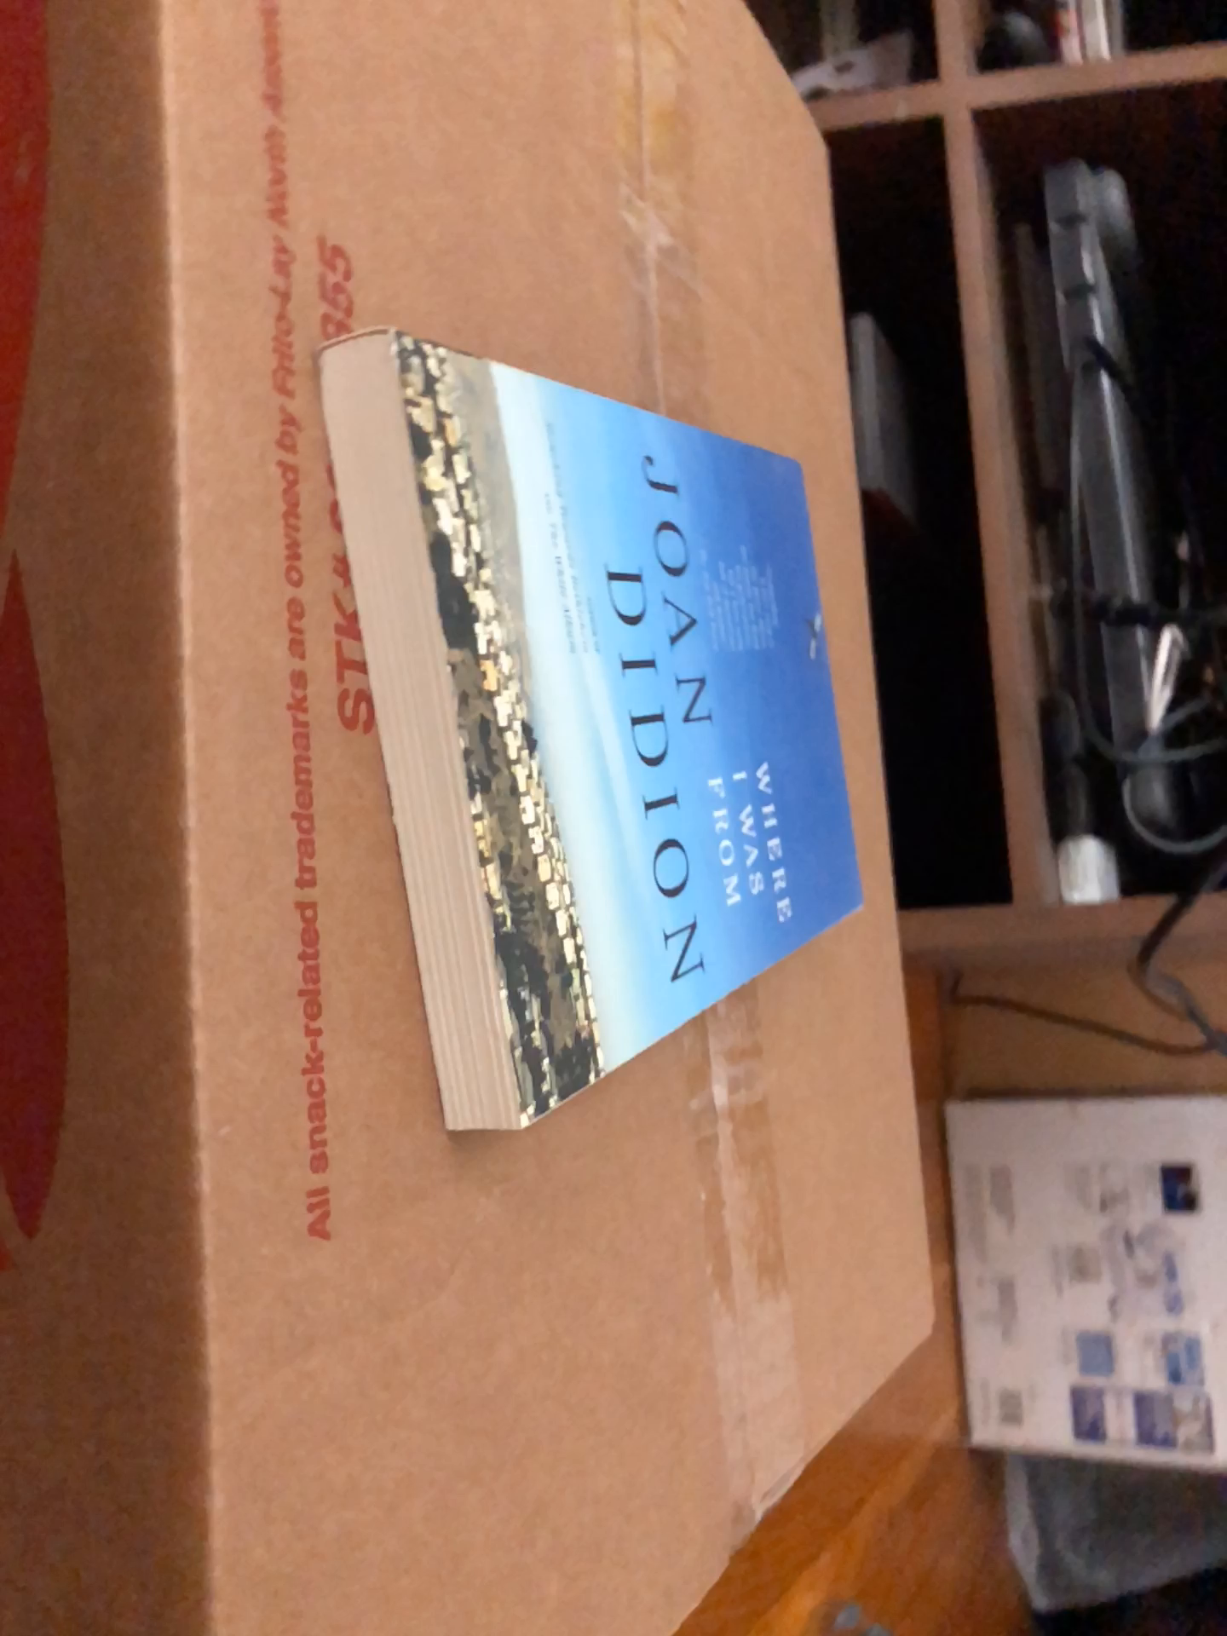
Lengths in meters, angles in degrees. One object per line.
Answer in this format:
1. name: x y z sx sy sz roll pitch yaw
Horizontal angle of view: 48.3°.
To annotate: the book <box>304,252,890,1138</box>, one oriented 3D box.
1. book: 0.016 -0.031 0.313 0.211 0.020 0.140 -17 98 -63
